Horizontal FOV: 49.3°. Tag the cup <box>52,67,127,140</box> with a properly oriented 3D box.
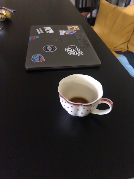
[{"bbox_3d":[0.044,0.021,0.314,0.120,0.069,0.091,31,49,28],"label":"cup"}]
